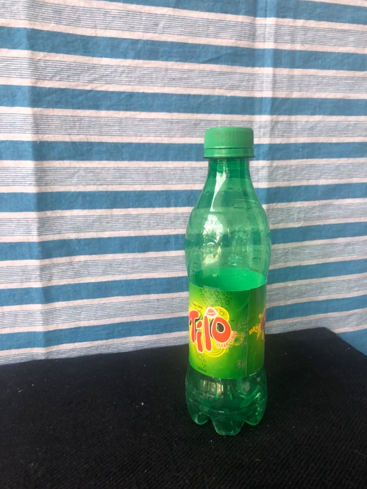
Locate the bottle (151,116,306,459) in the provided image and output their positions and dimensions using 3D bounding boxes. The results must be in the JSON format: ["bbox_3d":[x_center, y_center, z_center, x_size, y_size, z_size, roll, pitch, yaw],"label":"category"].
[{"bbox_3d":[0.030,0.022,0.273,0.070,0.199,0.070,3,12,-1],"label":"bottle"}]
